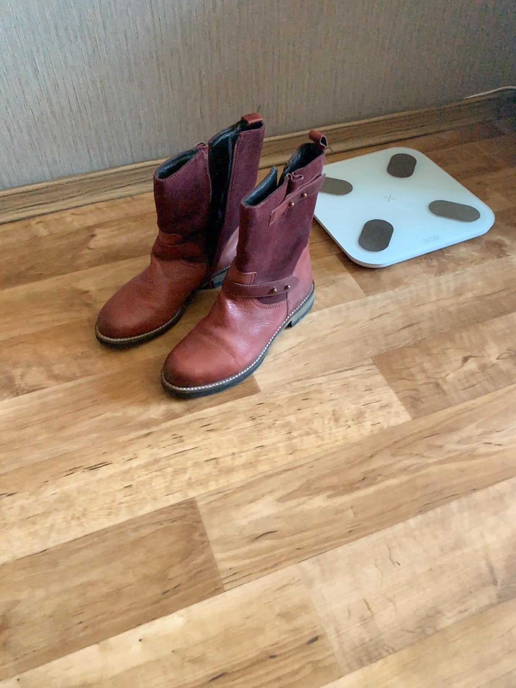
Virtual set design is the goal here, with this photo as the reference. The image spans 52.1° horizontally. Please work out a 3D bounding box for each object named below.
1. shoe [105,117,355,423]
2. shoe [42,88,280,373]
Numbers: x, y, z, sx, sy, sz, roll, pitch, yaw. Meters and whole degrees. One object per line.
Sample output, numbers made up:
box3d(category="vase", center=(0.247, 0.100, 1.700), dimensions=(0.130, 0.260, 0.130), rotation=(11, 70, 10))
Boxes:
box3d(category="shoe", center=(-0.017, -0.081, 0.596), dimensions=(0.090, 0.239, 0.250), rotation=(35, 57, 27))
box3d(category="shoe", center=(-0.096, -0.140, 0.664), dimensions=(0.100, 0.249, 0.250), rotation=(35, 57, 27))
